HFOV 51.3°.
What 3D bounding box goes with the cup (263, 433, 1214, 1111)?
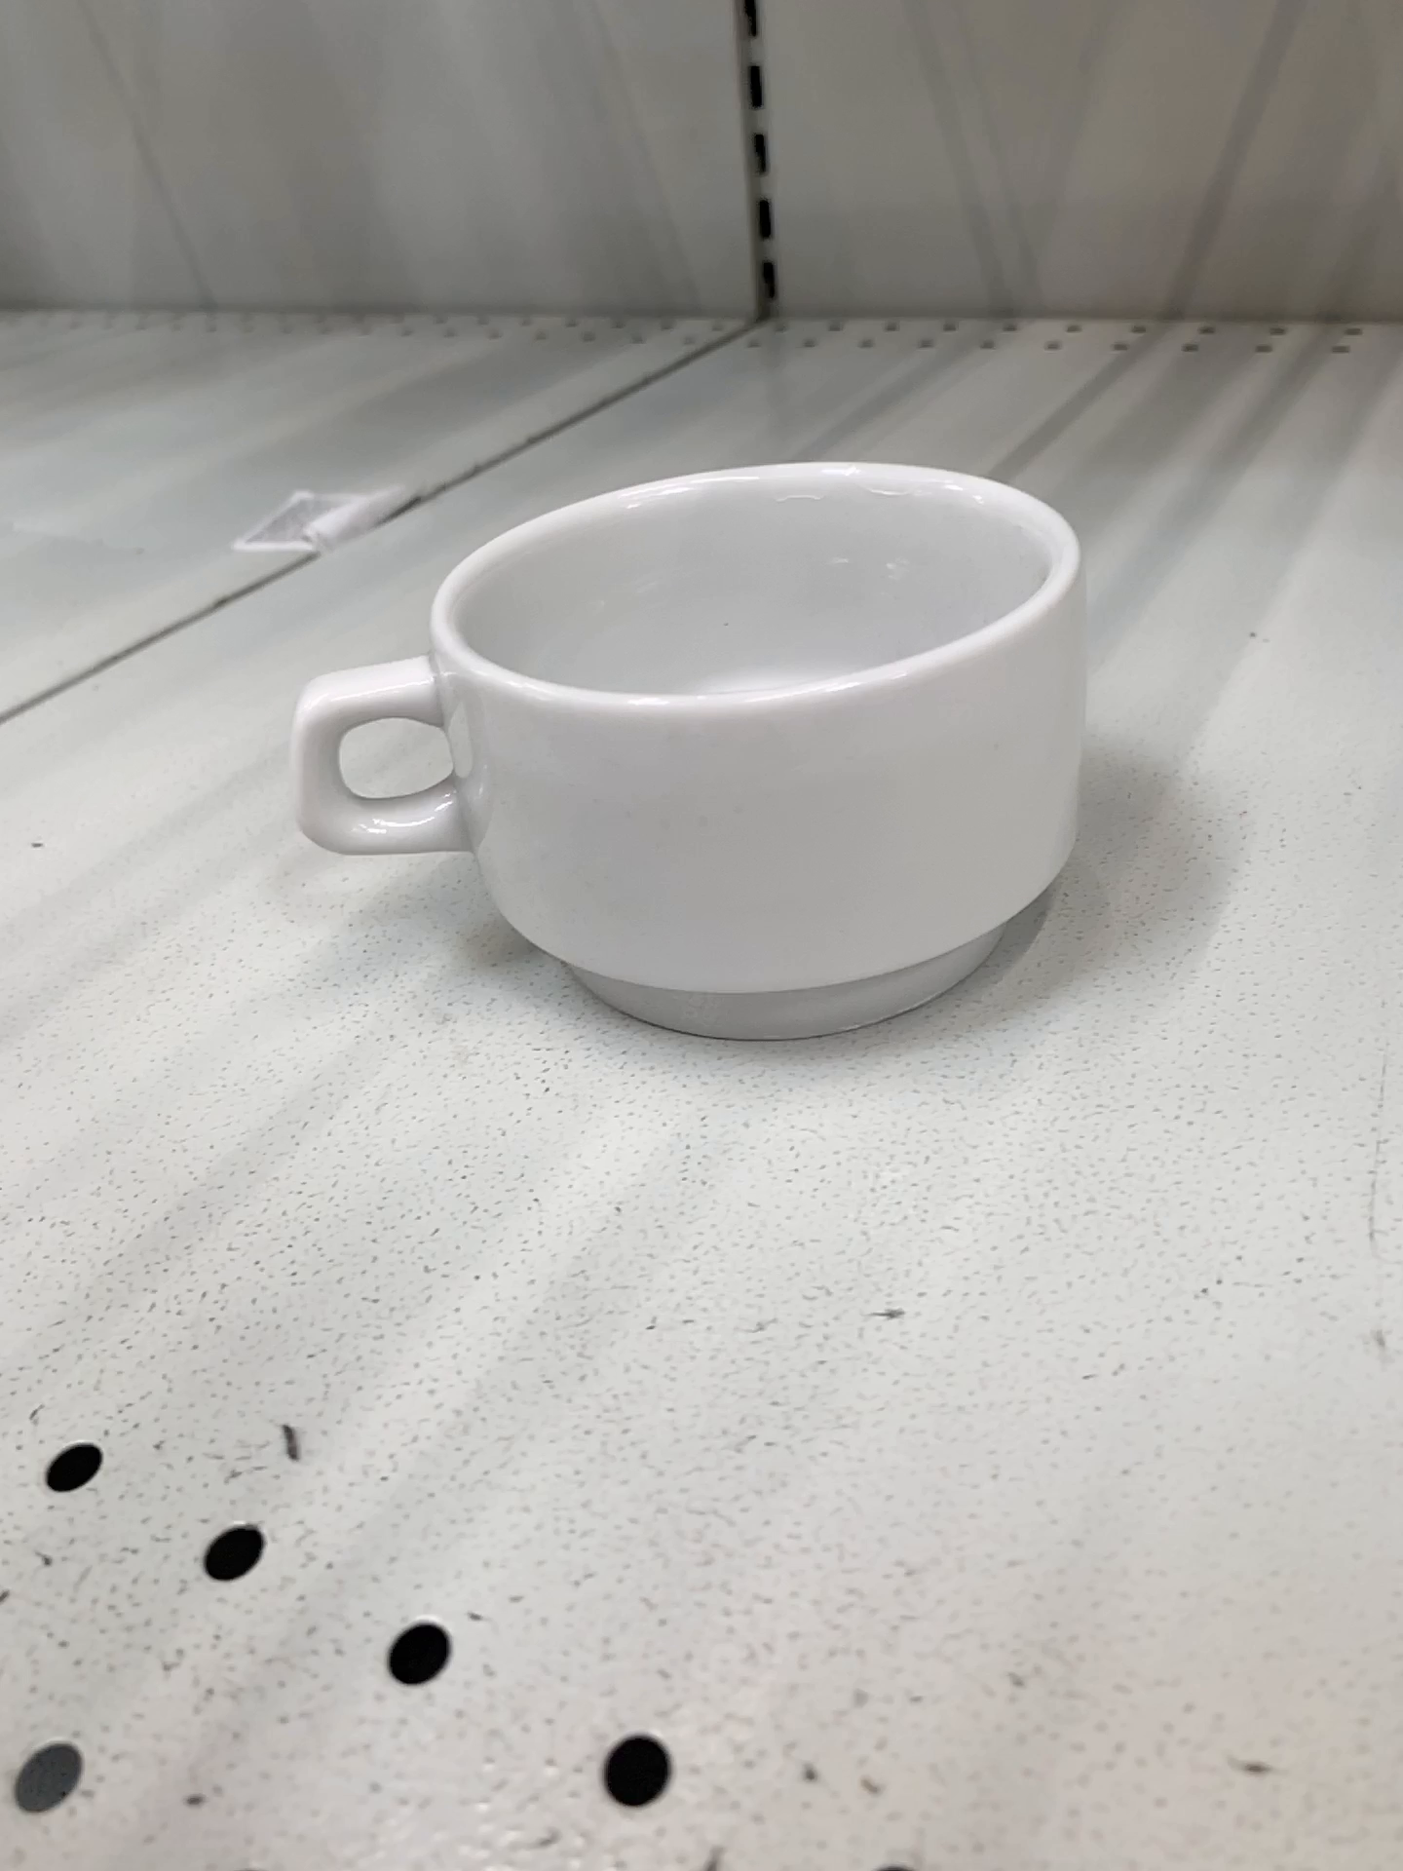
[{"bbox_3d":[0.002,-0.031,0.220,0.111,0.051,0.091,-9,33,-4],"label":"cup"}]
